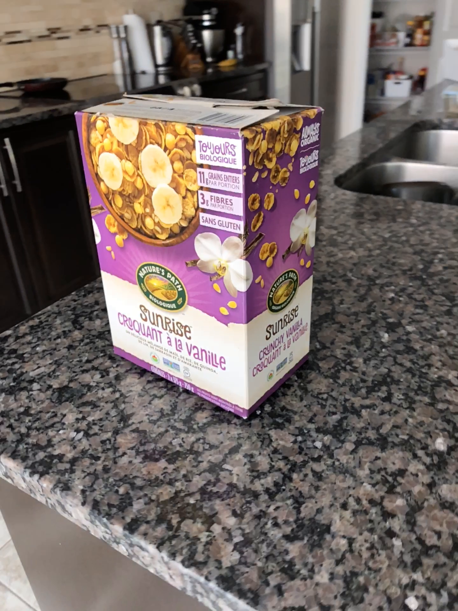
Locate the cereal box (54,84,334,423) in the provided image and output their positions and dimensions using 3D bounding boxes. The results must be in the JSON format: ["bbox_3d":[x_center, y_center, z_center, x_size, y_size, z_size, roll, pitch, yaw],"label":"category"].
[{"bbox_3d":[-0.024,-0.054,0.433,0.180,0.229,0.110,19,36,34],"label":"cereal box"}]
